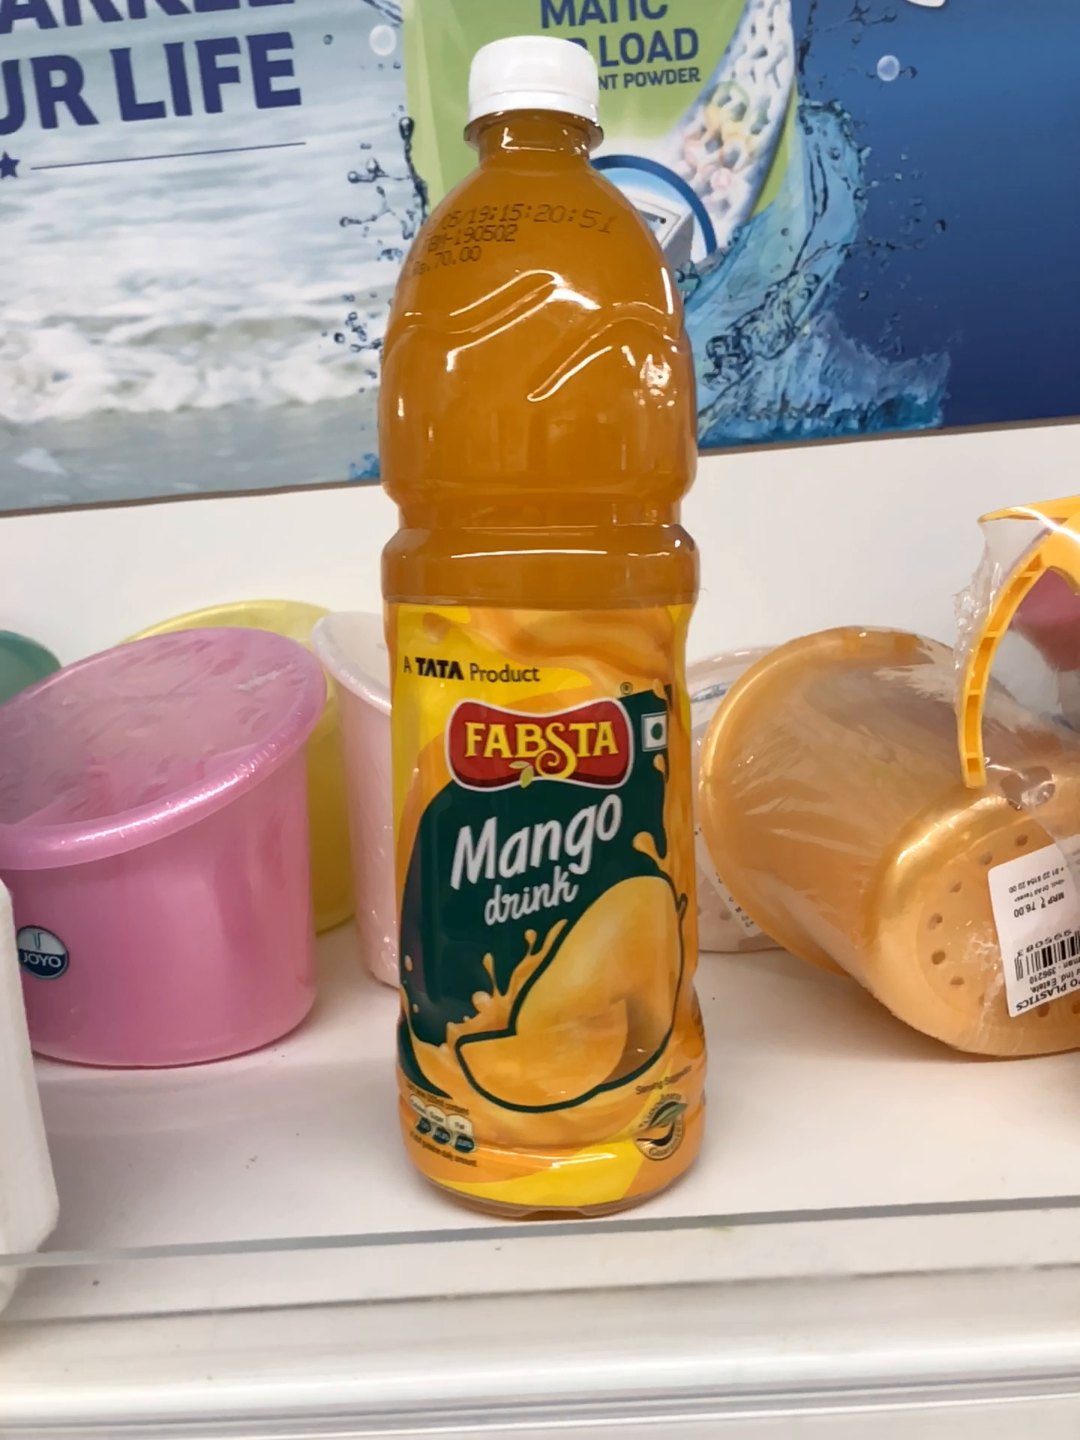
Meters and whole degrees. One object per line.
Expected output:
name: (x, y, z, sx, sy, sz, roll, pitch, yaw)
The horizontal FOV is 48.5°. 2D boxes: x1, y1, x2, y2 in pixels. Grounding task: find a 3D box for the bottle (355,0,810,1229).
bottle: (0.007, -0.020, 0.294, 0.090, 0.259, 0.080, 0, 8, -2)
